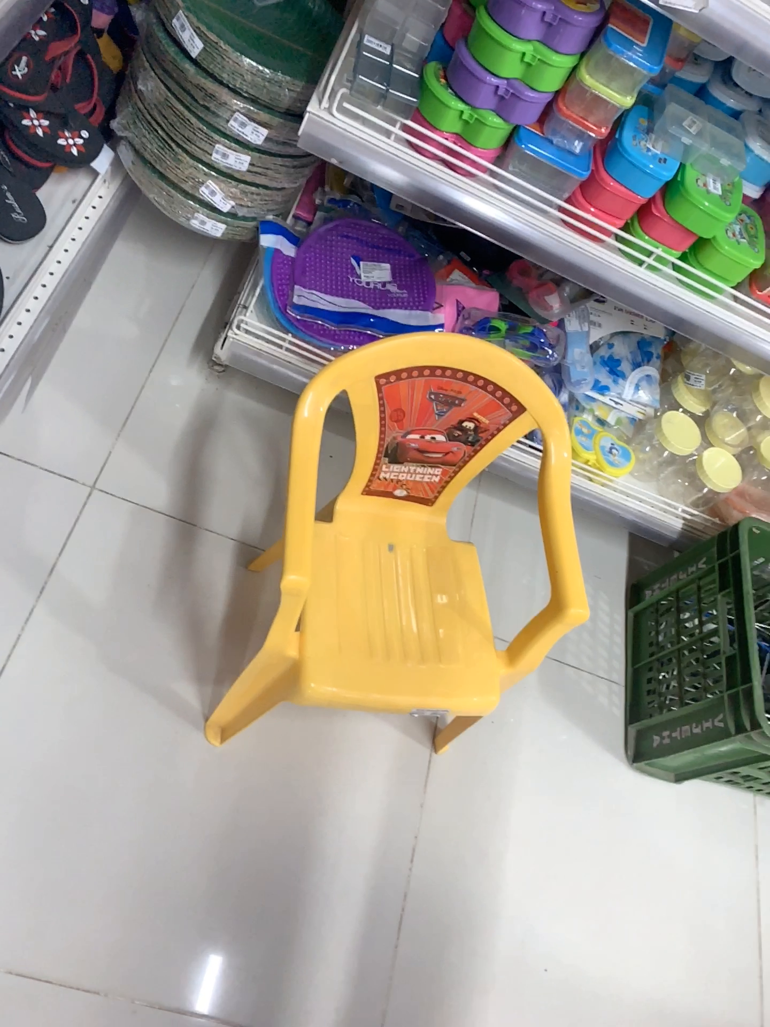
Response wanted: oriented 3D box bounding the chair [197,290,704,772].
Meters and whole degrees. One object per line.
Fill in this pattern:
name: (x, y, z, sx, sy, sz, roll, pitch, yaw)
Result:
chair: (0.022, 0.080, 0.957, 0.390, 0.499, 0.370, 8, 61, -19)
